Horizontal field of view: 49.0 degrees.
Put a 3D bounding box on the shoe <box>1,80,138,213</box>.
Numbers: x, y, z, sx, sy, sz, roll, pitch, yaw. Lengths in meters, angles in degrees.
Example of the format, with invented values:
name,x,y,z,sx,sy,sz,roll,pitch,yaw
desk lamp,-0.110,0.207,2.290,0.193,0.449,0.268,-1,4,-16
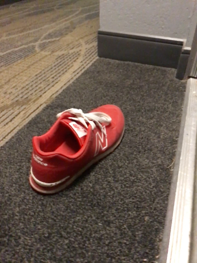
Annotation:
name,x,y,z,sx,sy,sz,roll,pitch,yaw
shoe,-0.033,0.007,0.423,0.100,0.107,0.258,24,44,28
